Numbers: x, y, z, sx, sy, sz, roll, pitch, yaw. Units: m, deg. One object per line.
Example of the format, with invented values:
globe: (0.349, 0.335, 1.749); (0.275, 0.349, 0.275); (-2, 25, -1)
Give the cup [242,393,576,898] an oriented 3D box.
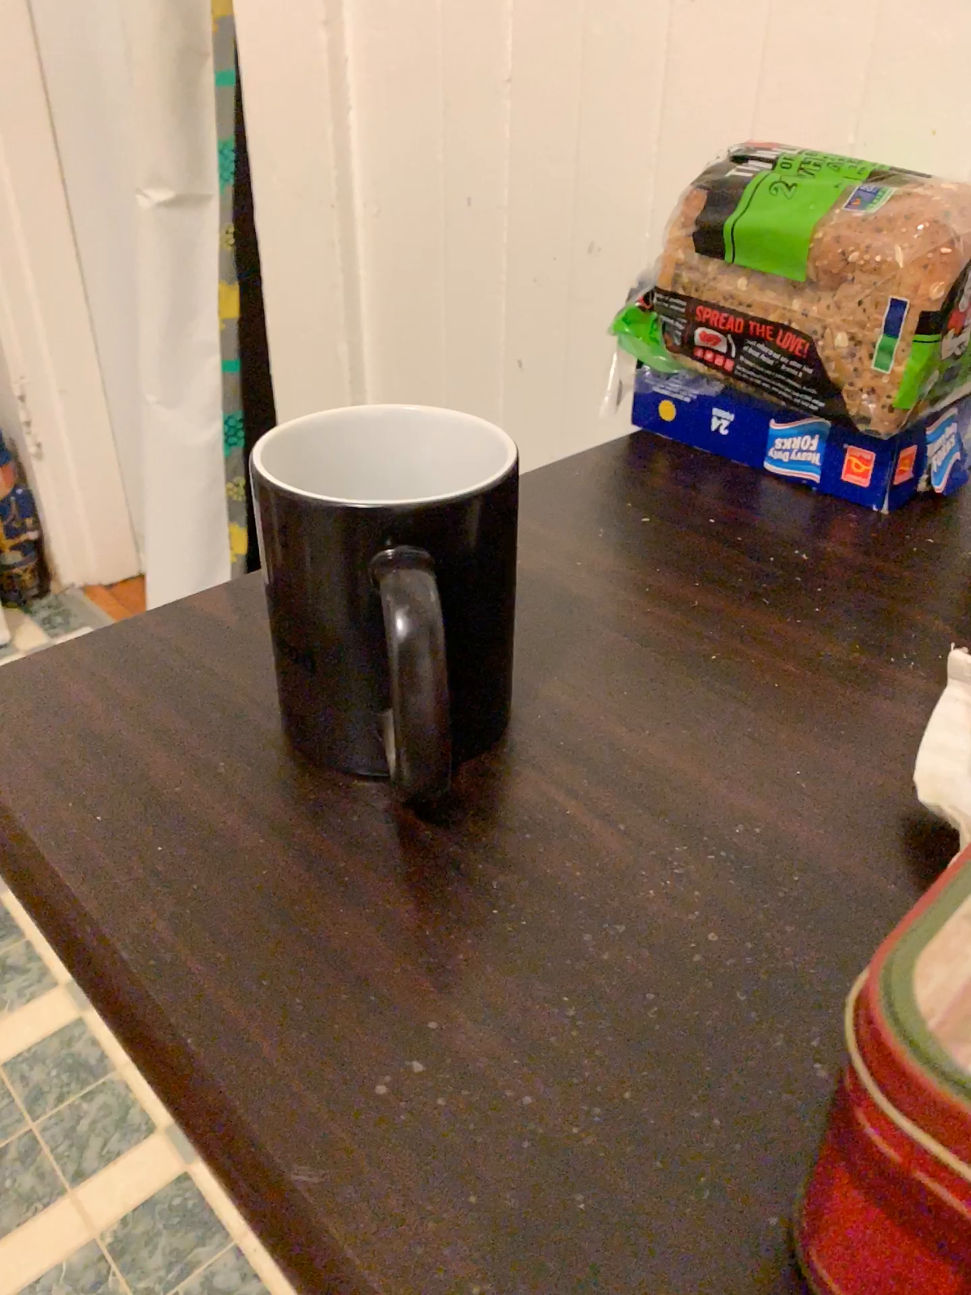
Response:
cup: (-0.029, -0.009, 0.319); (0.080, 0.099, 0.131); (-5, 33, -9)
